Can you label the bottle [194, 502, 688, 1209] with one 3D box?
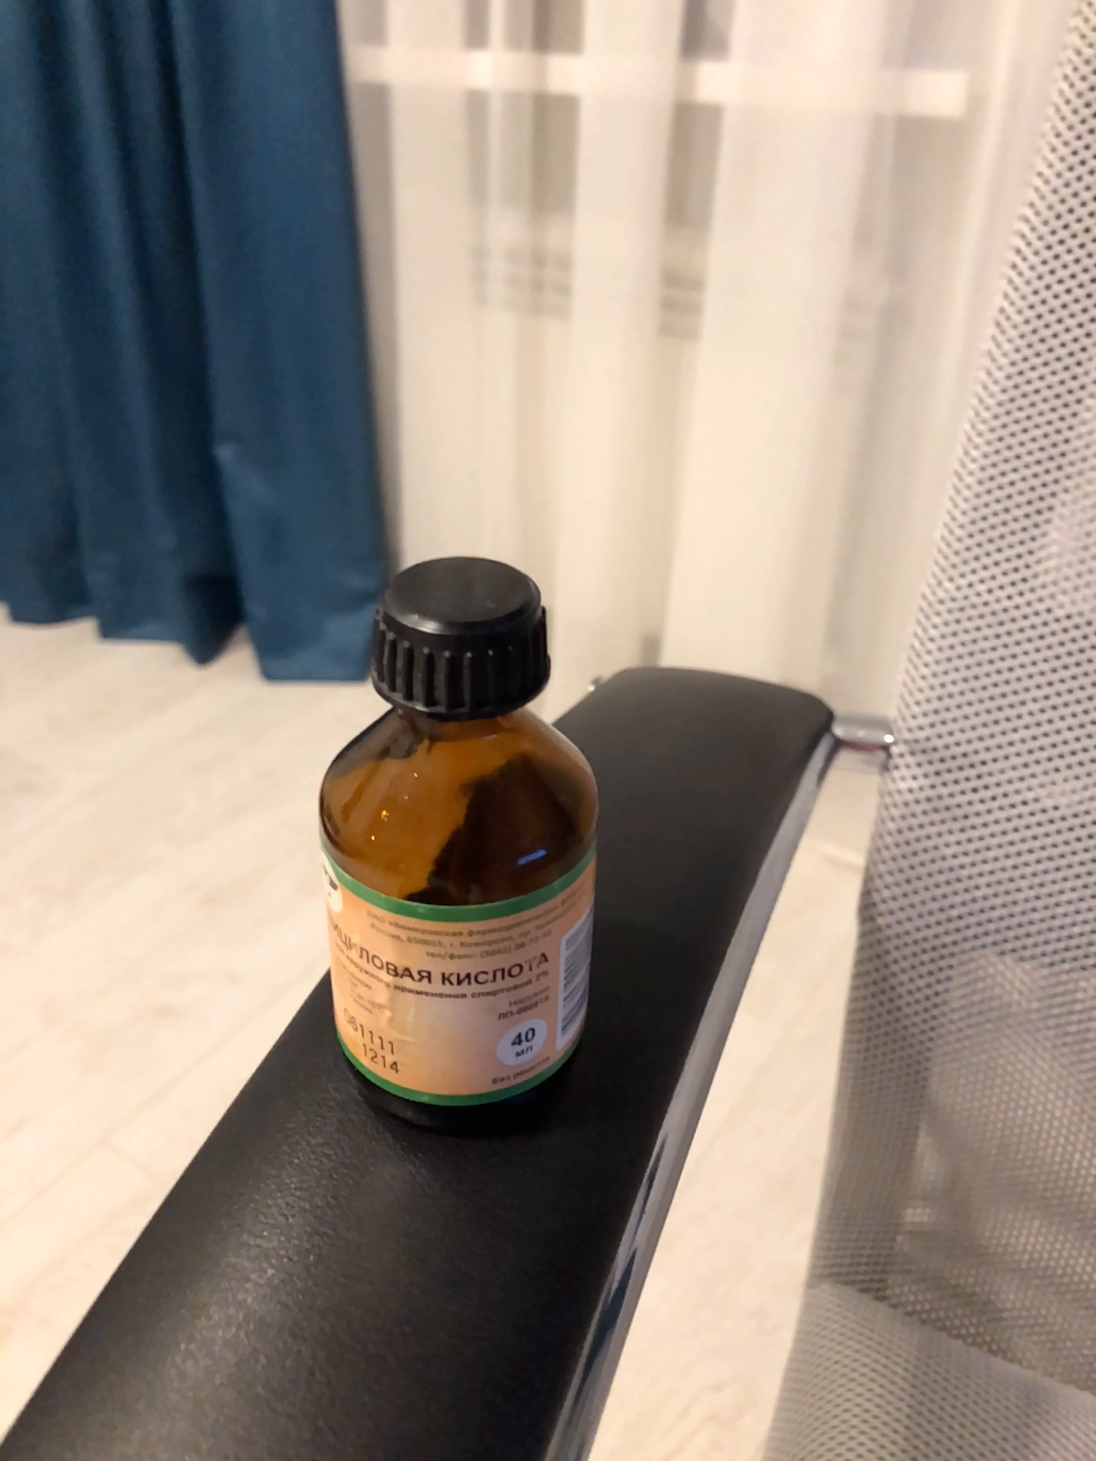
[{"bbox_3d":[-0.012,0.017,0.182,0.050,0.083,0.050,1,31,0],"label":"bottle"}]
